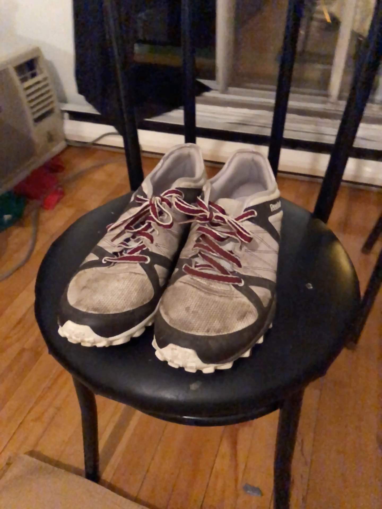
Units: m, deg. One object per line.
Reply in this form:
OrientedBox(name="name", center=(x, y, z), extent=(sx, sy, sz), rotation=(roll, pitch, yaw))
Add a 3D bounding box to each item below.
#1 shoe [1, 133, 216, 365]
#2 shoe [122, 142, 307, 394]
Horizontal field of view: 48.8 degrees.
OrientedBox(name="shoe", center=(-0.064, -0.029, 0.470), extent=(0.110, 0.089, 0.272), rotation=(12, 43, 15))
OrientedBox(name="shoe", center=(0.043, -0.010, 0.457), extent=(0.110, 0.089, 0.282), rotation=(12, 43, 15))
